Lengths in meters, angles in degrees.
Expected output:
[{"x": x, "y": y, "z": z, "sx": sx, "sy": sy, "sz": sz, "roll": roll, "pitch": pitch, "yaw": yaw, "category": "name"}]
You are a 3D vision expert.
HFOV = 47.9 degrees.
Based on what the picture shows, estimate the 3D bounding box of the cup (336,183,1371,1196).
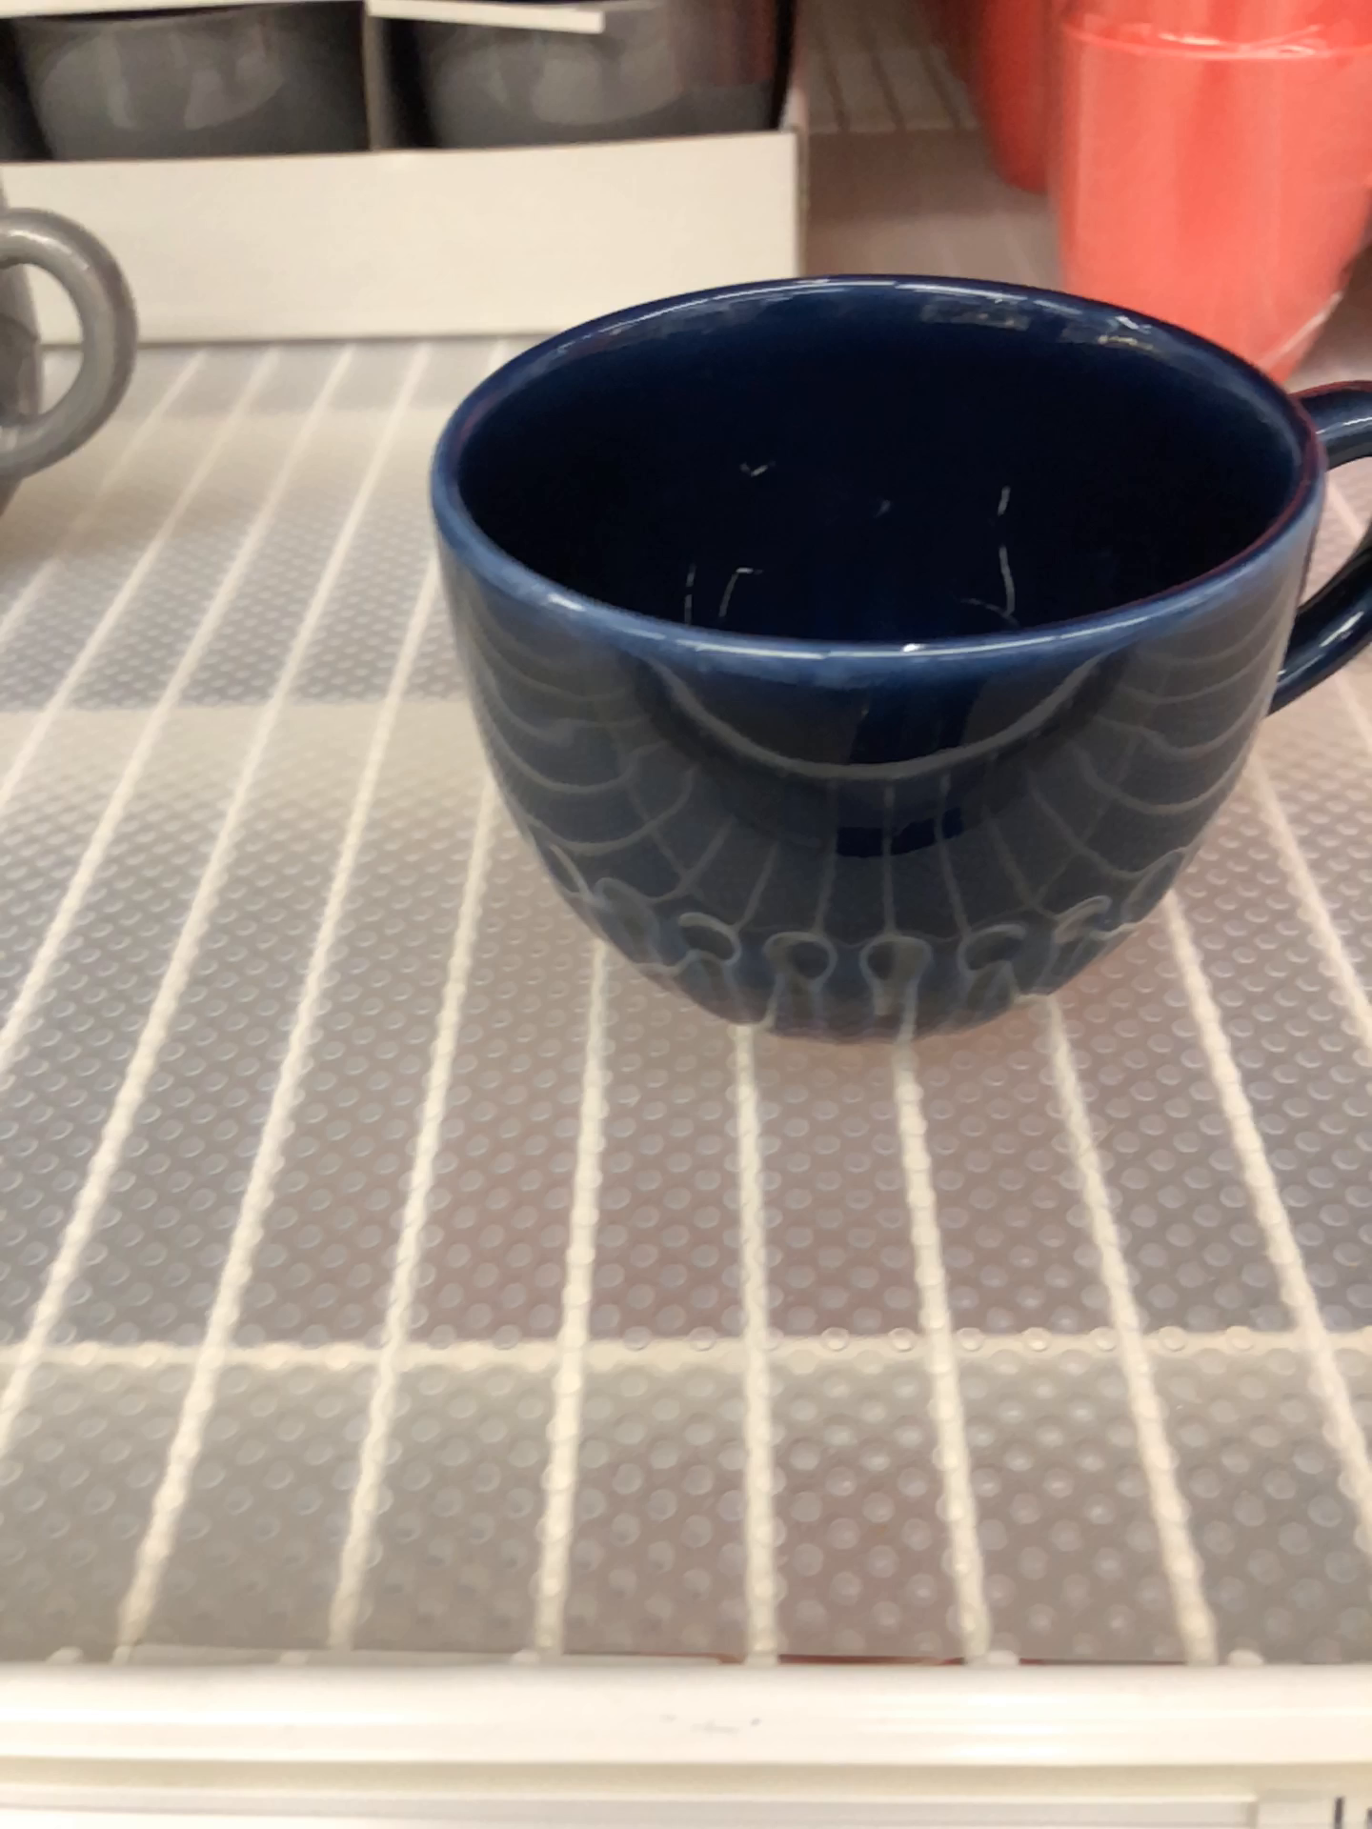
[{"x": 0.033, "y": -0.041, "z": 0.202, "sx": 0.130, "sy": 0.060, "sz": 0.110, "roll": -14, "pitch": 41, "yaw": -13, "category": "cup"}]
